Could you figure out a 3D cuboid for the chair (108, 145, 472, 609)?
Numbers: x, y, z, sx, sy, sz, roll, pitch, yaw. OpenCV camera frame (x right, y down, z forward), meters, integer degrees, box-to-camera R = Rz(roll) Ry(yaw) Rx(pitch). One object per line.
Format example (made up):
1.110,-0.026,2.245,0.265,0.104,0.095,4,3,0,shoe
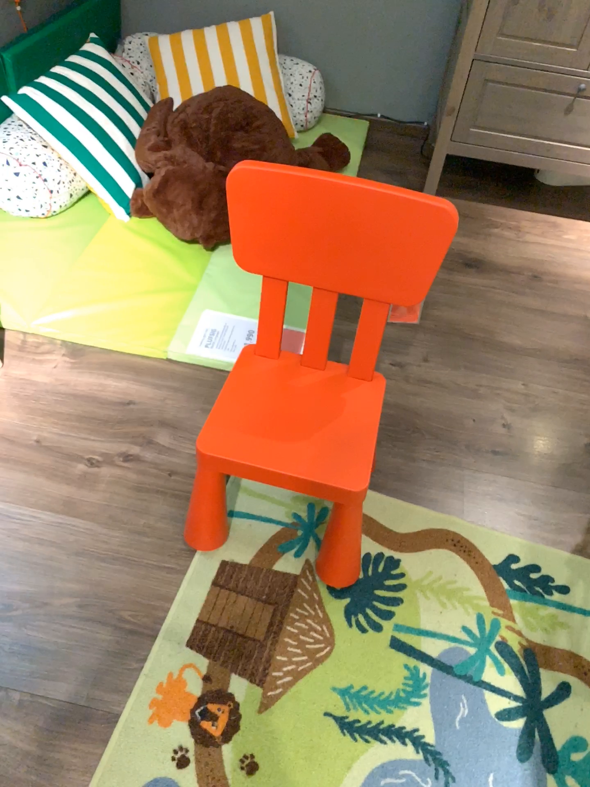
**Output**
0.011,-0.017,1.100,0.430,0.598,0.492,13,48,5,chair
